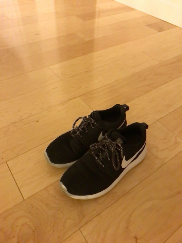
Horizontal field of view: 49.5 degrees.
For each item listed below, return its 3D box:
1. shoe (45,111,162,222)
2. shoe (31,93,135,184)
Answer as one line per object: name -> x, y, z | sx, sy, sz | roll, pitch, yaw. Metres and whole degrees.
shoe -> 0.041, 0.099, 0.514 | 0.291, 0.099, 0.110 | -31, 54, -29
shoe -> -0.011, 0.036, 0.580 | 0.291, 0.099, 0.100 | -31, 54, -29
